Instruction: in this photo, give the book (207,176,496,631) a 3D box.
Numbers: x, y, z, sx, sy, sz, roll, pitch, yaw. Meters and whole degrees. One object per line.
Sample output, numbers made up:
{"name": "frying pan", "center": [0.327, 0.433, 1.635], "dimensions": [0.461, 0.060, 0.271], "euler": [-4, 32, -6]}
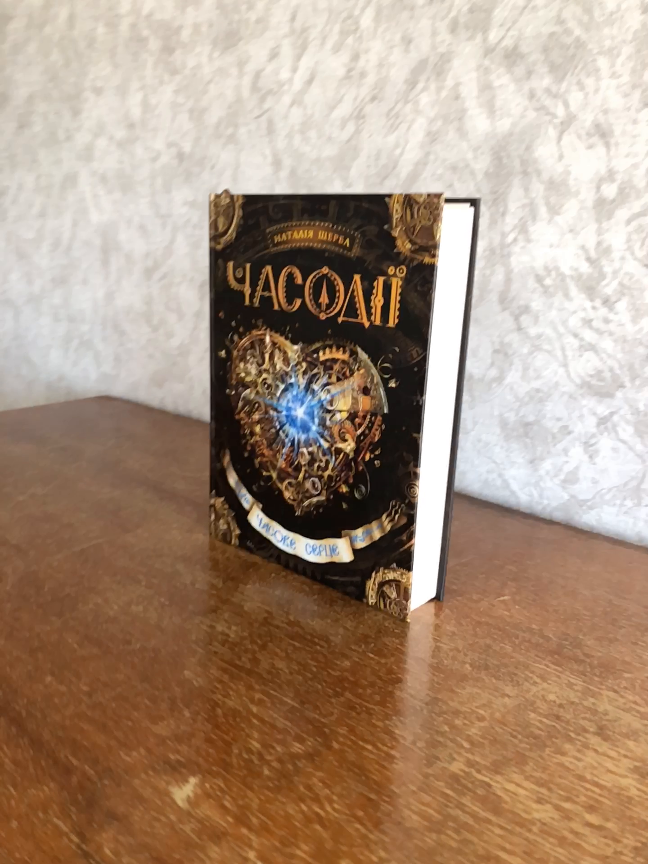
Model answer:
{"name": "book", "center": [0.004, -0.025, 0.418], "dimensions": [0.166, 0.228, 0.042], "euler": [13, 16, 38]}
